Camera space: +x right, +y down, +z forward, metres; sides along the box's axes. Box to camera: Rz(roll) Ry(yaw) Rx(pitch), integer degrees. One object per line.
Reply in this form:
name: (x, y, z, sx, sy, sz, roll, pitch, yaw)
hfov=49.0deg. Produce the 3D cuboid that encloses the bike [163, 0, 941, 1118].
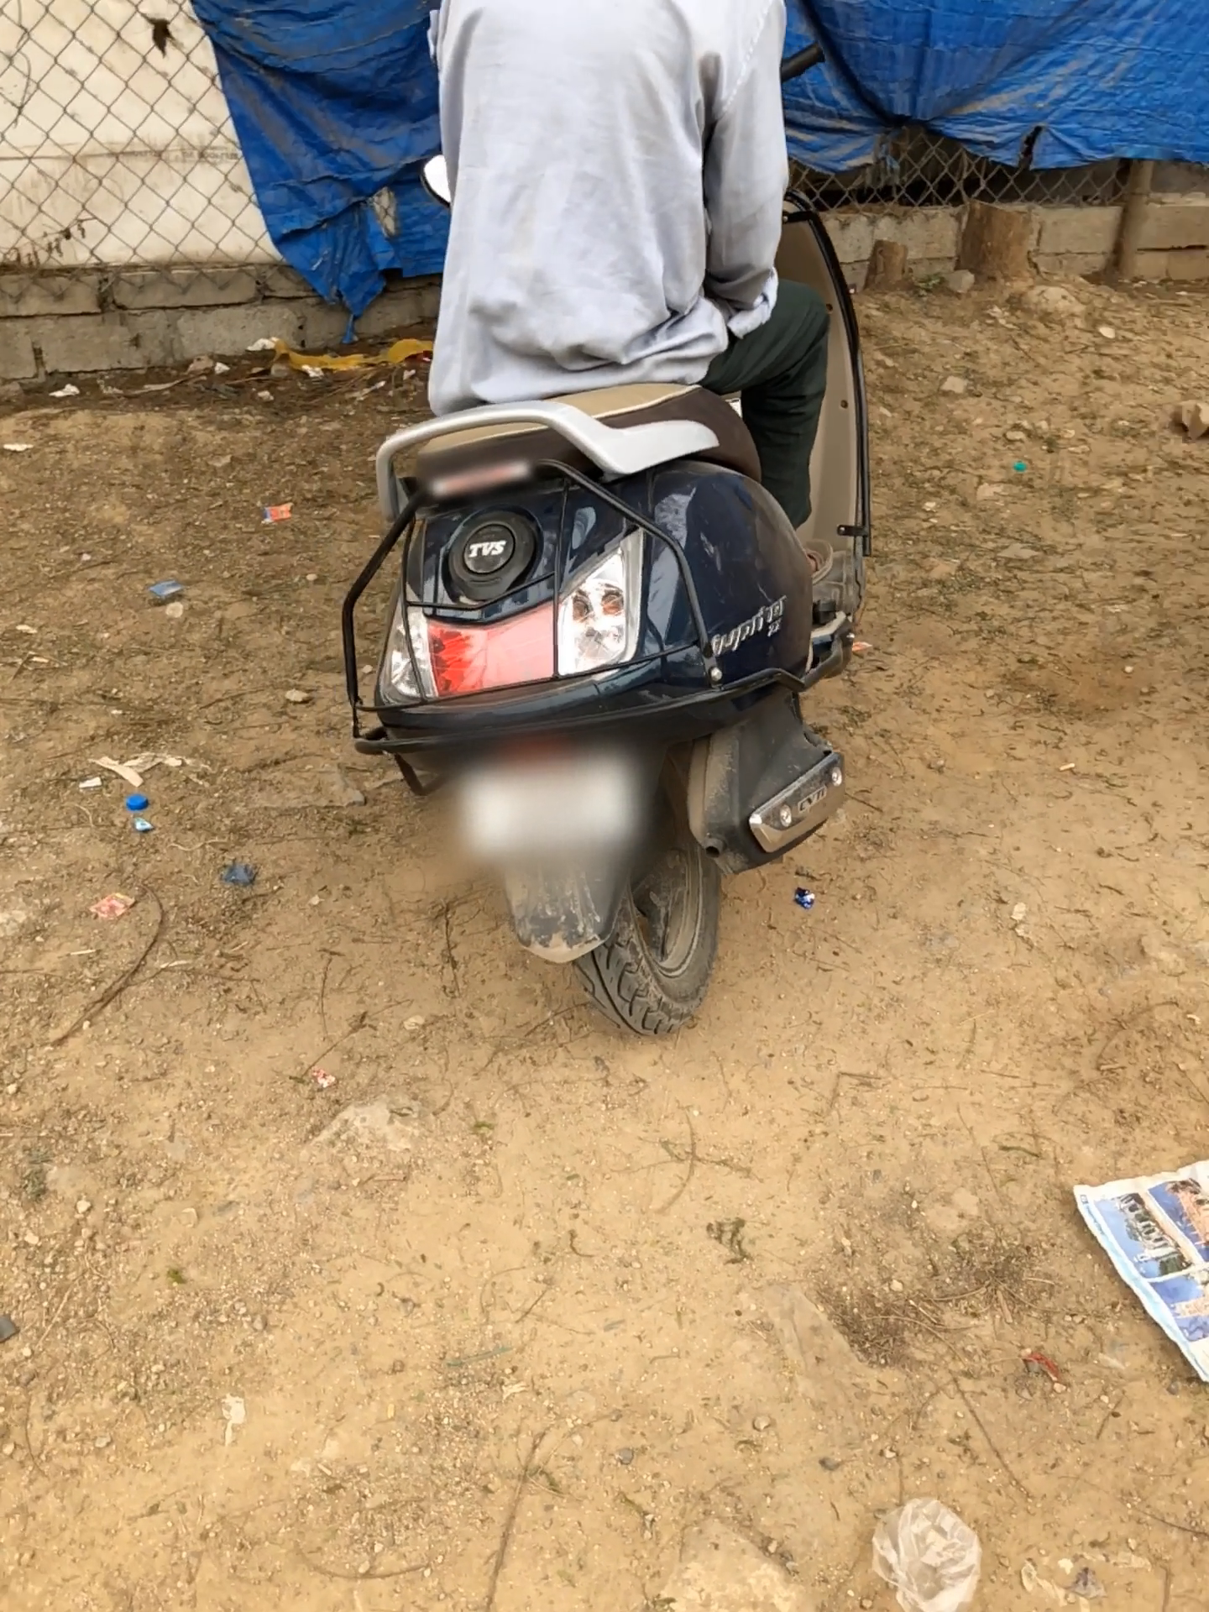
bike: (0.042, -0.613, 1.927, 0.634, 1.119, 1.351, 8, 39, 13)
